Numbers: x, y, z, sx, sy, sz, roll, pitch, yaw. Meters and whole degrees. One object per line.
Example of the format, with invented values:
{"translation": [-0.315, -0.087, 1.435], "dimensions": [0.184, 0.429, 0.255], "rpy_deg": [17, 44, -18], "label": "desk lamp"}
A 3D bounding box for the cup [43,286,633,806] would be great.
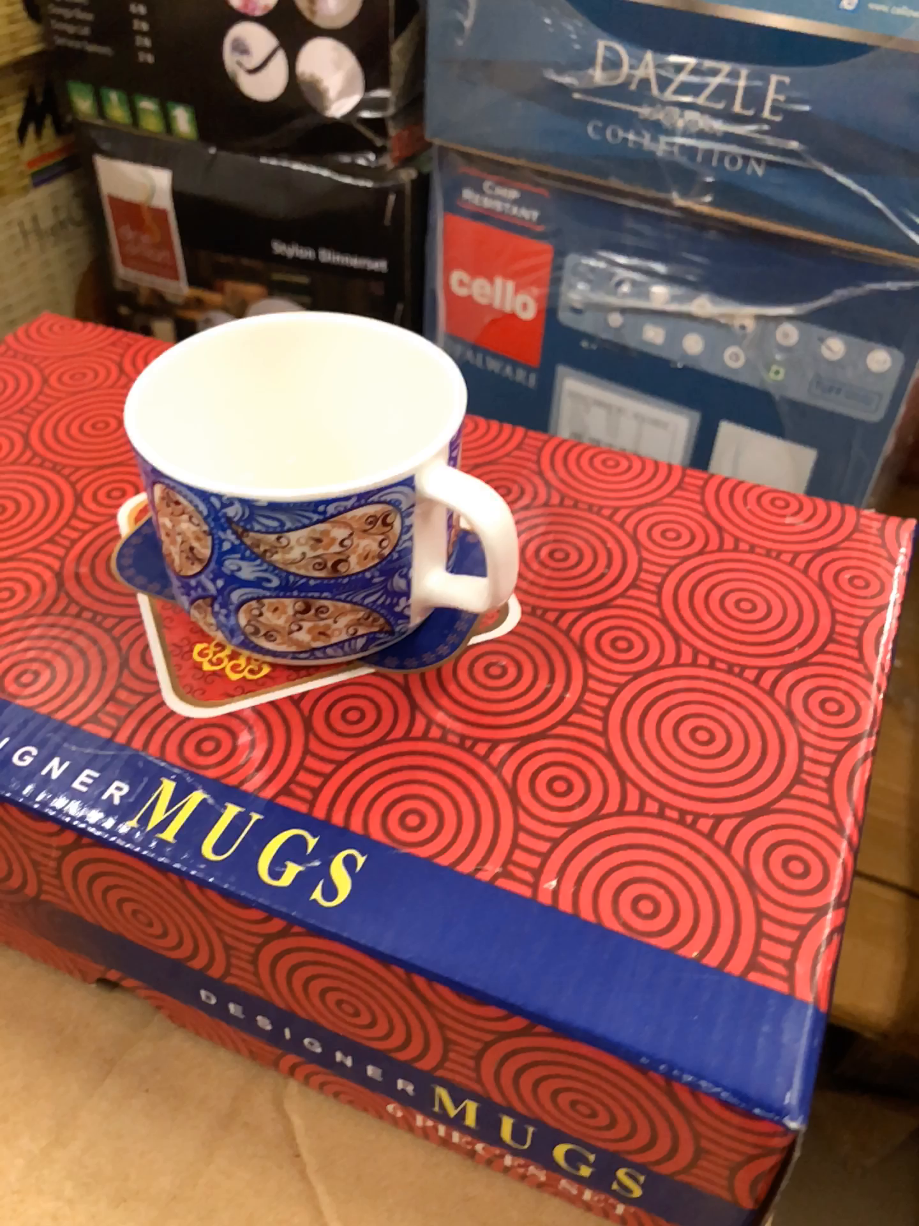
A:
{"translation": [-0.025, -0.021, 0.234], "dimensions": [0.100, 0.060, 0.070], "rpy_deg": [24, 46, 21], "label": "cup"}
